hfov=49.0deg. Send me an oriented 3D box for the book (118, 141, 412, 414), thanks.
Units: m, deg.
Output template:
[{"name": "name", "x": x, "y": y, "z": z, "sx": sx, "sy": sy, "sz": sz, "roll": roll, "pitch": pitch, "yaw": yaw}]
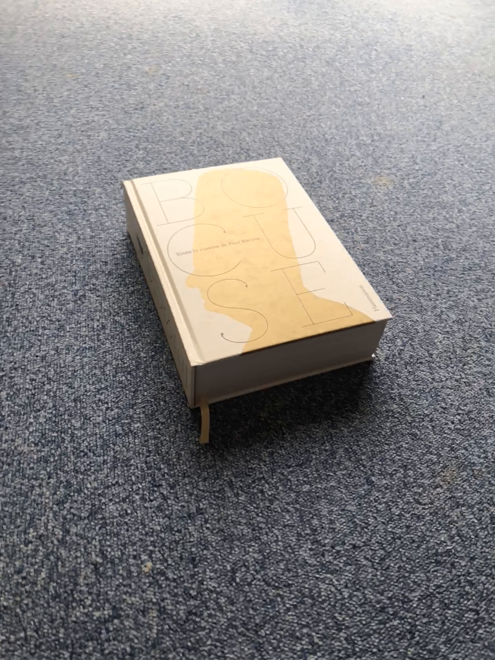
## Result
[{"name": "book", "x": -0.002, "y": -0.075, "z": 0.555, "sx": 0.201, "sy": 0.080, "sz": 0.281, "roll": -12, "pitch": 50, "yaw": -16}]
